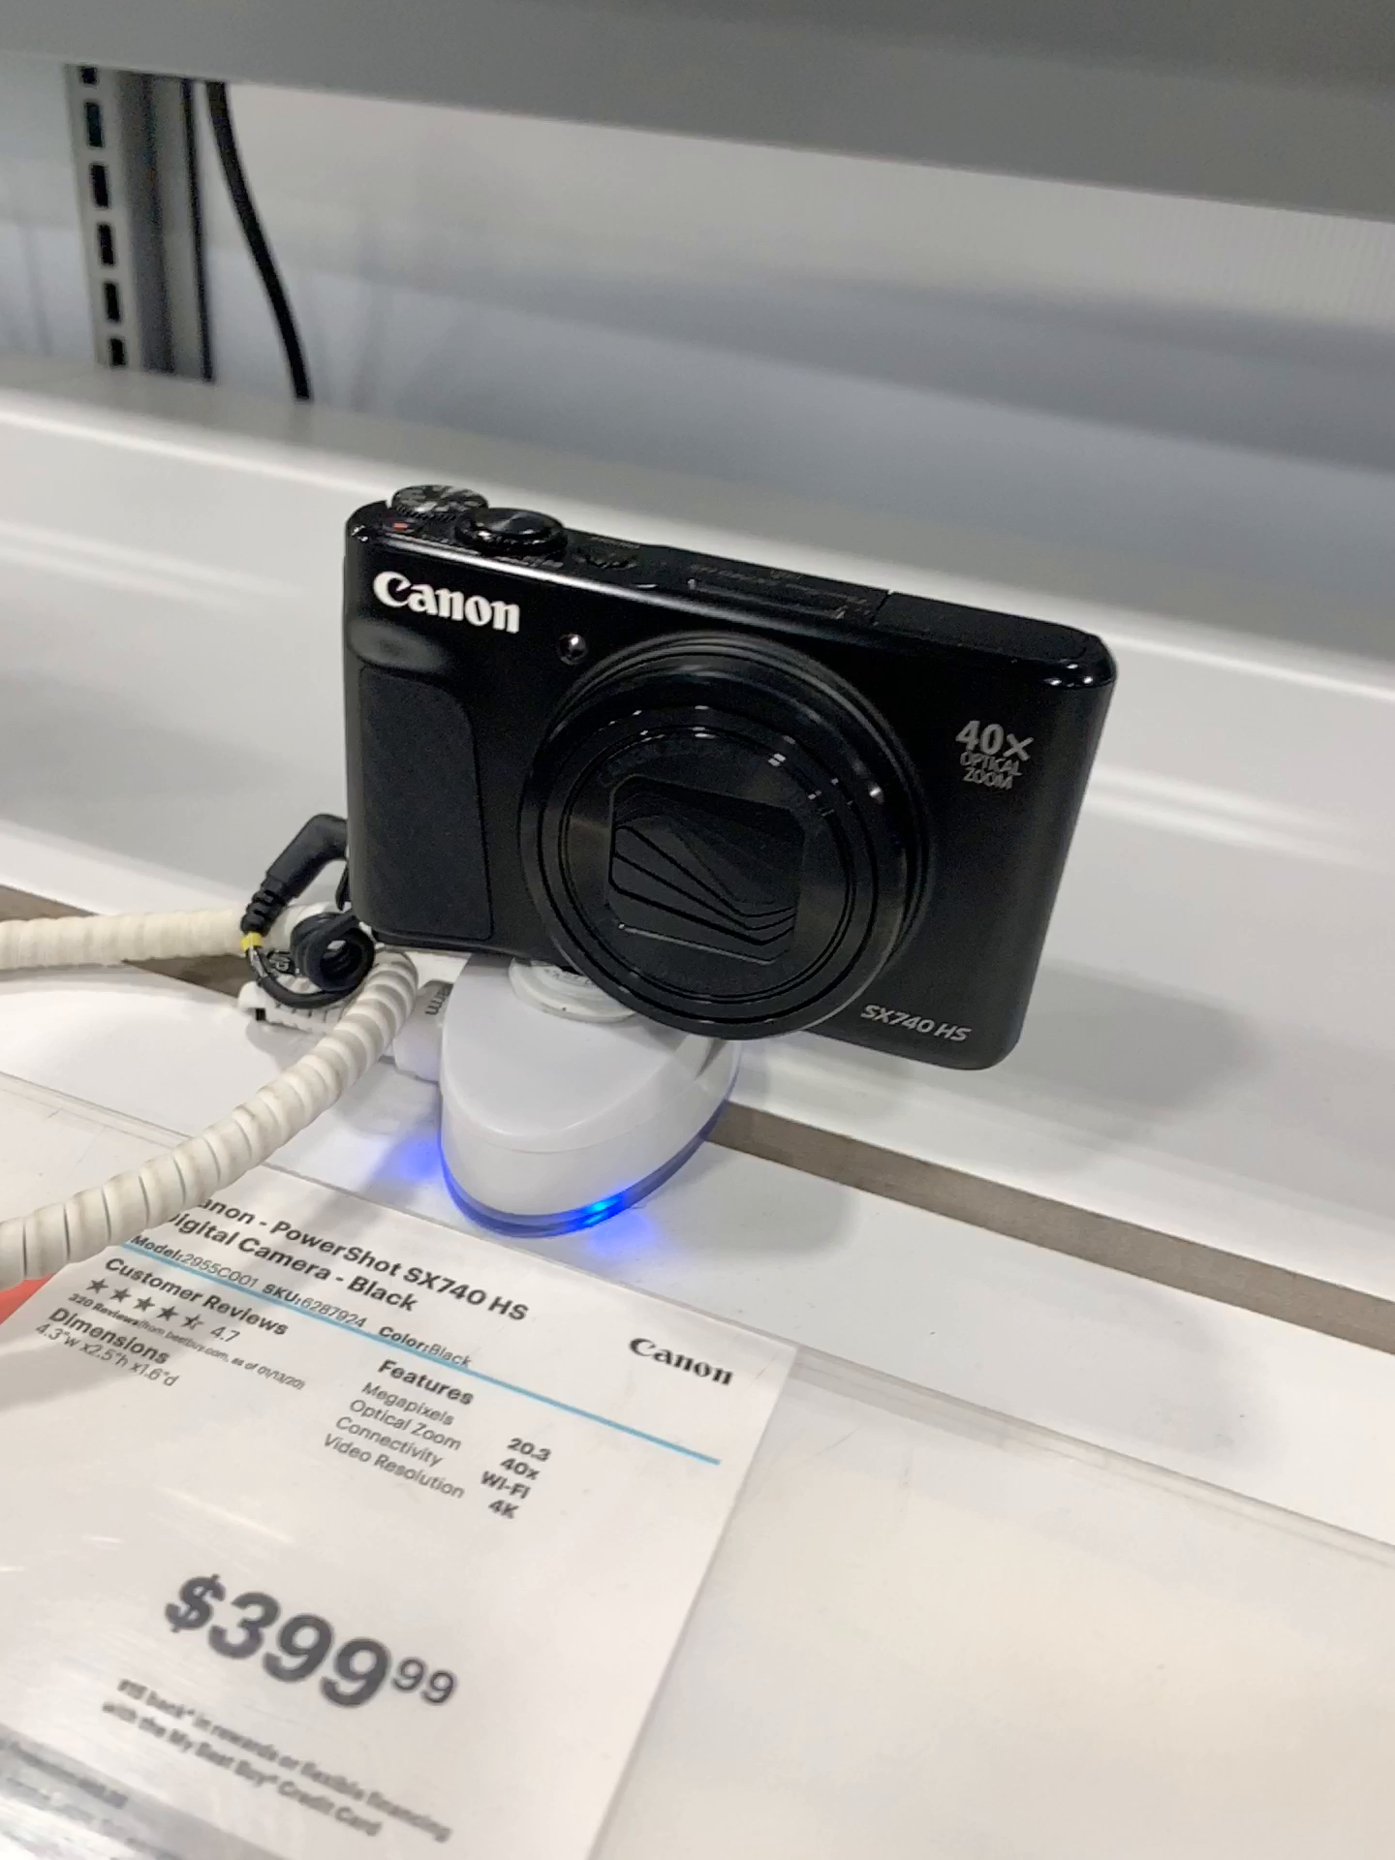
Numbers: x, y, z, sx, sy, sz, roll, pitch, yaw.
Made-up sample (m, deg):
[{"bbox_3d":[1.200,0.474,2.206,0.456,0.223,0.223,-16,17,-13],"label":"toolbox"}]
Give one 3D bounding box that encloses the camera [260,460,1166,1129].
[{"bbox_3d":[0.000,-0.023,0.218,0.120,0.063,0.042,14,31,12],"label":"camera"}]
